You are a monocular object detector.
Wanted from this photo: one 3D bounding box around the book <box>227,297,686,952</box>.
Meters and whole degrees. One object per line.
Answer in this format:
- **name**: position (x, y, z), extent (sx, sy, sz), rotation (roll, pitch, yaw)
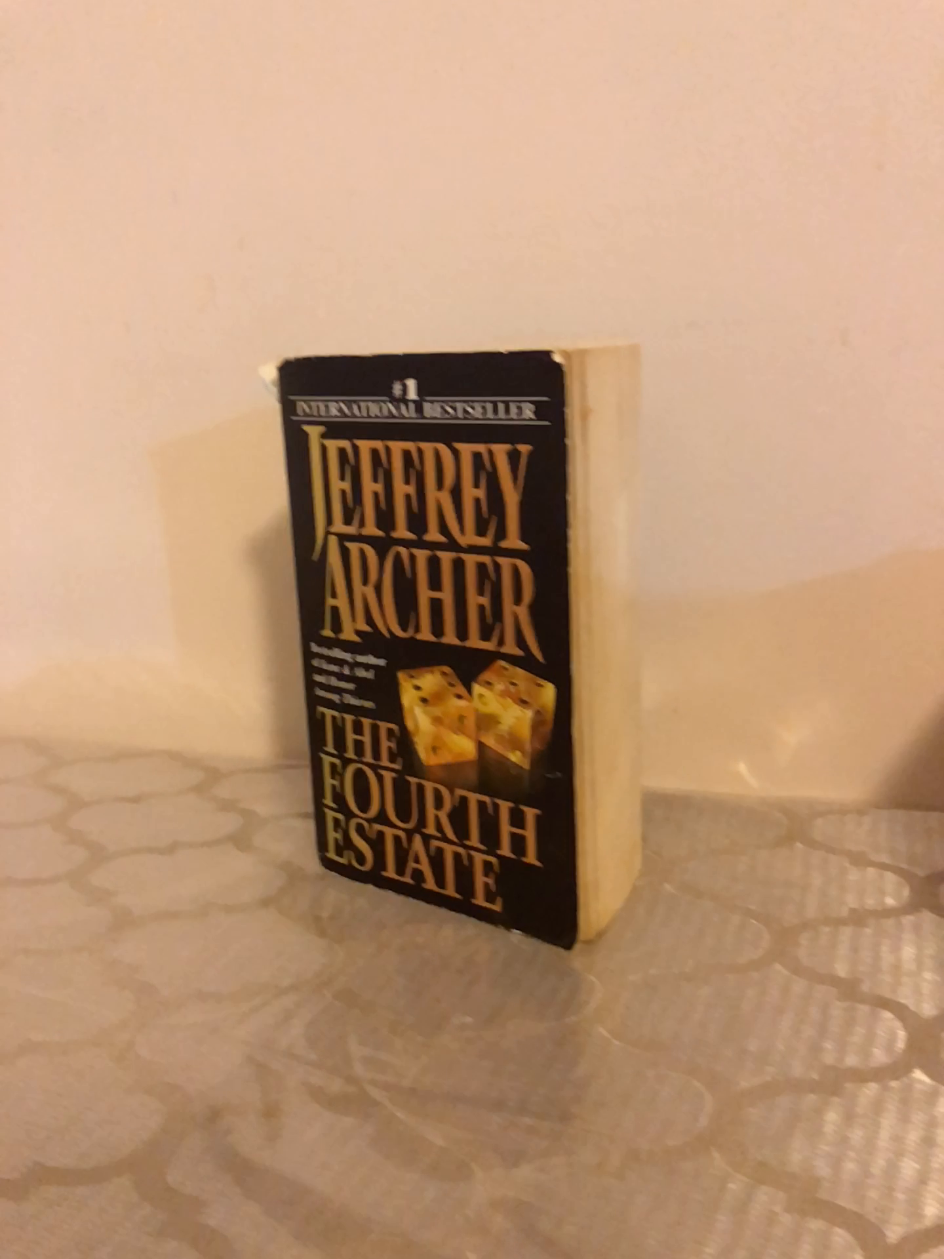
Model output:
- **book**: position (-0.003, -0.008, 0.323), extent (0.120, 0.169, 0.060), rotation (7, 16, 35)
